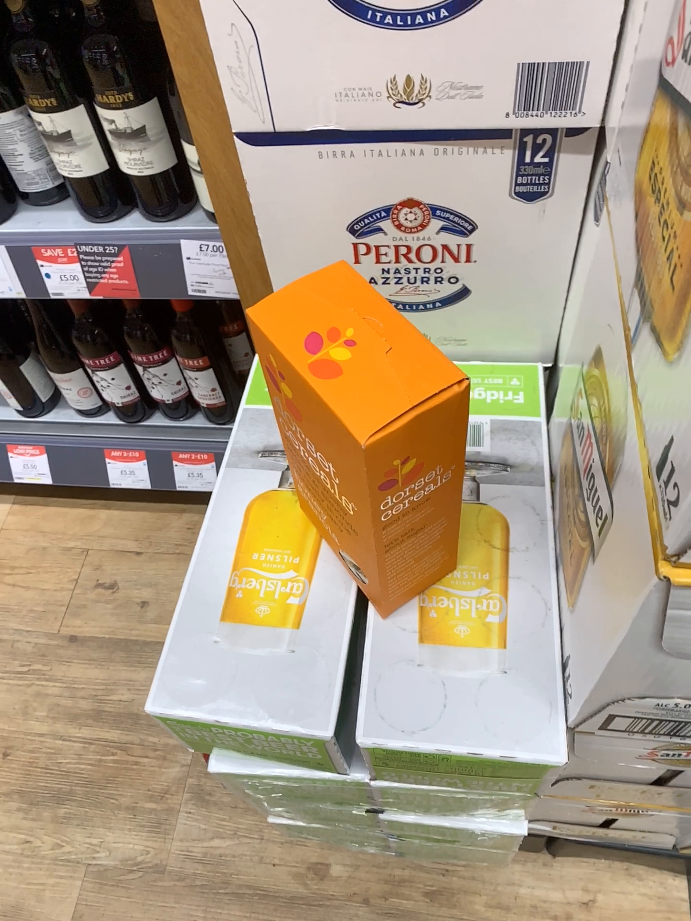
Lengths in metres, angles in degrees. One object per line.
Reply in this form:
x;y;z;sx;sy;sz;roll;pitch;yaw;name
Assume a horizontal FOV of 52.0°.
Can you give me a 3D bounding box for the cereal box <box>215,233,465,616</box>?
0.003;-0.011;0.428;0.070;0.198;0.121;-30;56;-14;cereal box
